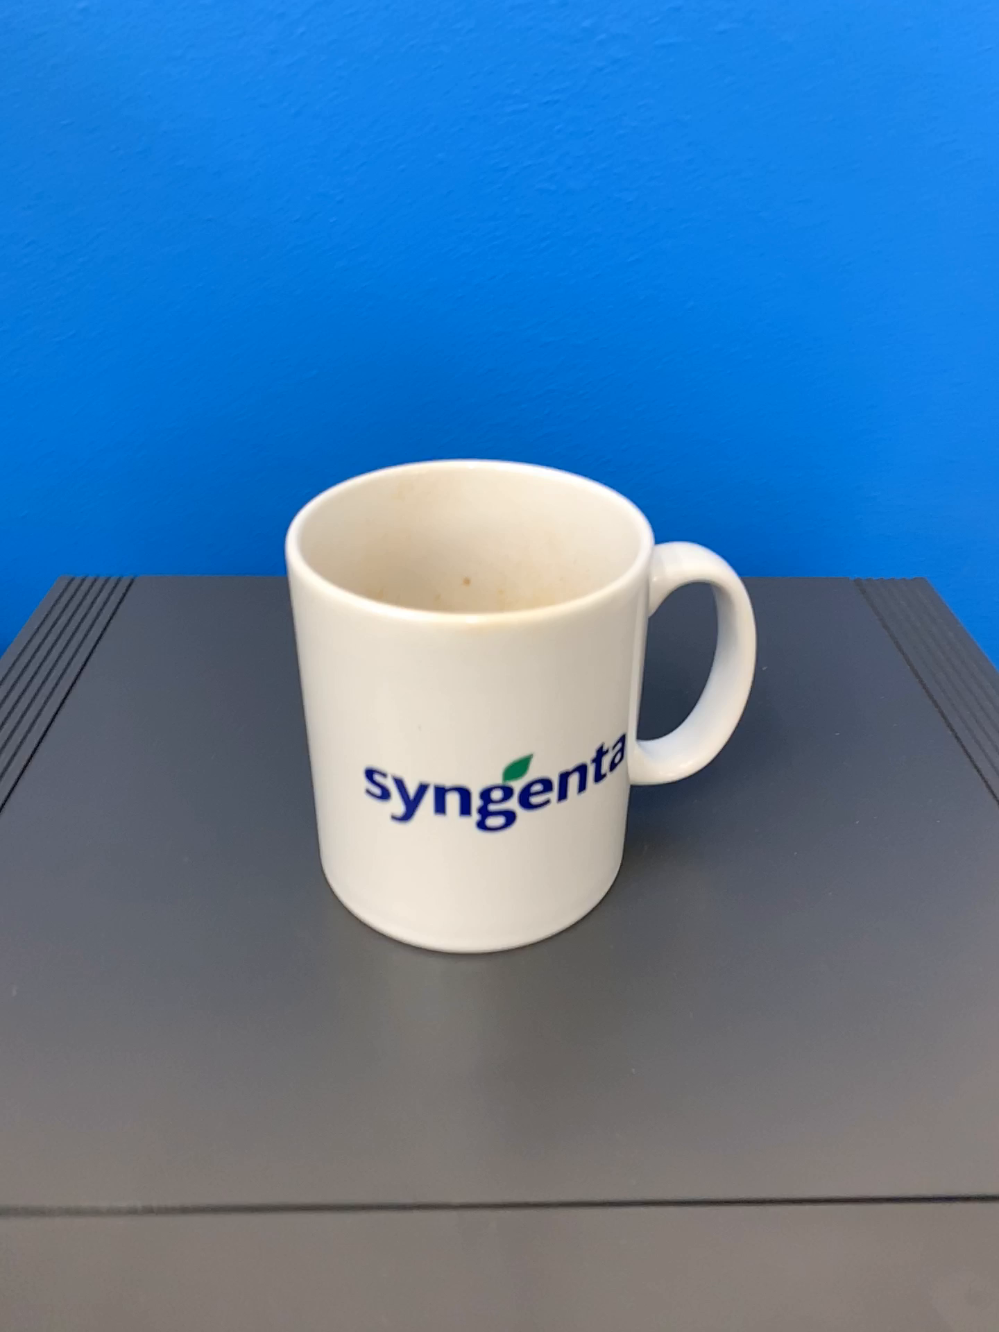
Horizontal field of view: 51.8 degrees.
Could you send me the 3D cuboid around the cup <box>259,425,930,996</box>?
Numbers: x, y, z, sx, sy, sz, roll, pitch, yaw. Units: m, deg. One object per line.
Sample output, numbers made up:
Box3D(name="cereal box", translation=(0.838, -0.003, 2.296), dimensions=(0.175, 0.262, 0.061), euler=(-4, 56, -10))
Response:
Box3D(name="cup", translation=(0.013, 0.005, 0.259), dimensions=(0.131, 0.094, 0.089), euler=(-7, 34, -12))
